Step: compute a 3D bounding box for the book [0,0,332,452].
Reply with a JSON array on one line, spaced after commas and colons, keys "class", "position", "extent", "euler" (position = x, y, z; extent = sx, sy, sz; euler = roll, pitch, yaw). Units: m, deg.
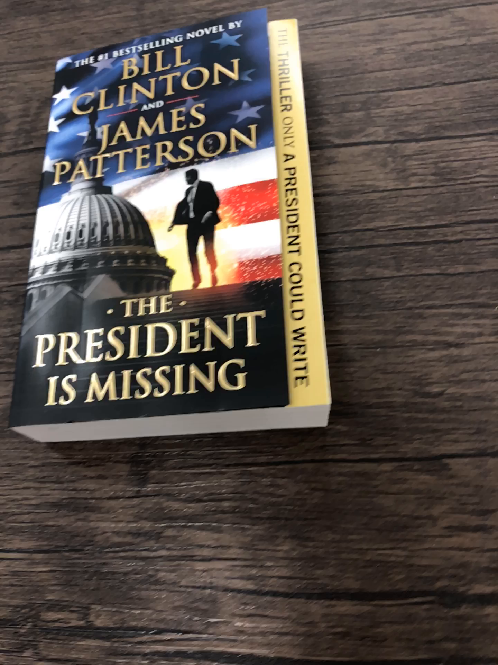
[{"class": "book", "position": [-0.039, -0.057, 0.284], "extent": [0.140, 0.054, 0.216], "euler": [-5, 68, 8]}]
